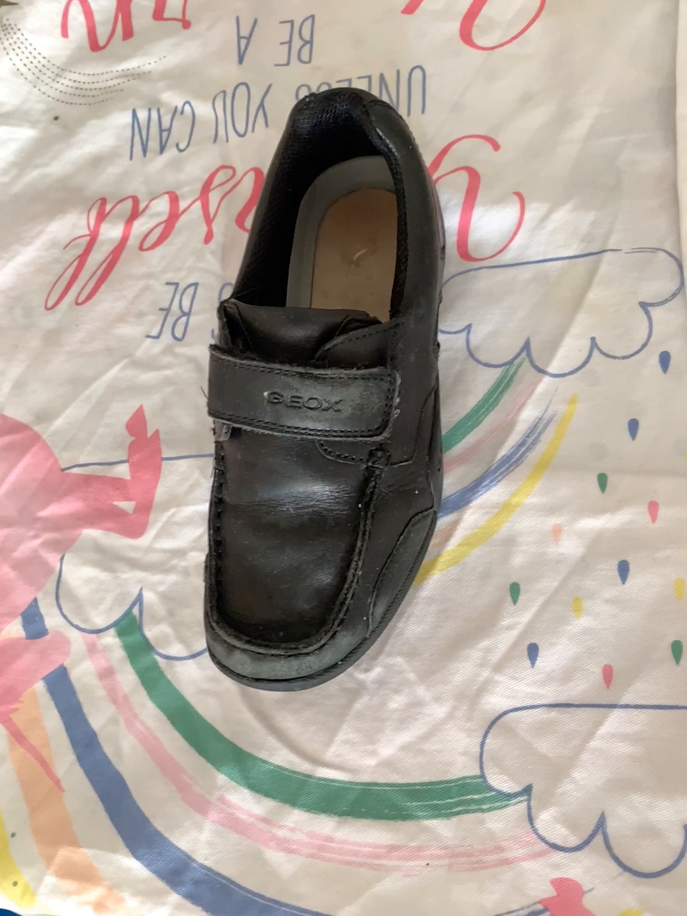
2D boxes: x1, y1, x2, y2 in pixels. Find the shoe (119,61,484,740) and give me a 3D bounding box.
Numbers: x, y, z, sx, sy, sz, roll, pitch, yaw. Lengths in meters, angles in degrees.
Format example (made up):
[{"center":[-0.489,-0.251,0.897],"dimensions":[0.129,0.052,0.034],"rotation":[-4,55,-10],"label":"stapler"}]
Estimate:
[{"center":[0.004,-0.017,0.293],"dimensions":[0.080,0.140,0.220],"rotation":[6,76,13],"label":"shoe"}]
